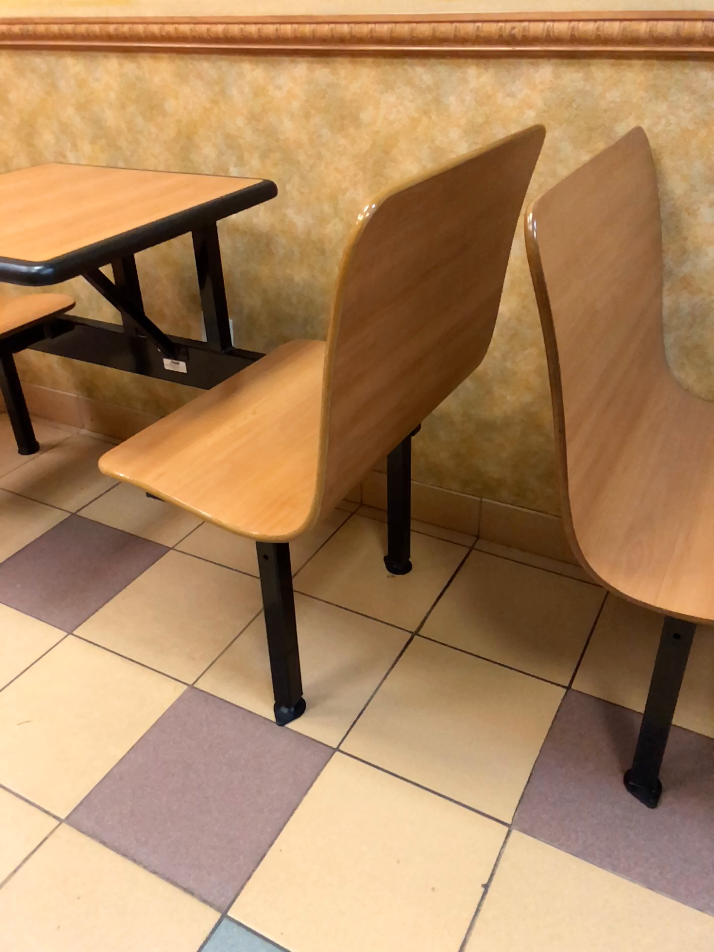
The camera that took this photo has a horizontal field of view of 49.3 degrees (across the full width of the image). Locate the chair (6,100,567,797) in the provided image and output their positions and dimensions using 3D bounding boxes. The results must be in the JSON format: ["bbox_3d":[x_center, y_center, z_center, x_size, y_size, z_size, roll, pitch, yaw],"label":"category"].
[{"bbox_3d":[-0.042,-0.098,1.301,0.511,0.885,0.633,15,35,25],"label":"chair"}]
